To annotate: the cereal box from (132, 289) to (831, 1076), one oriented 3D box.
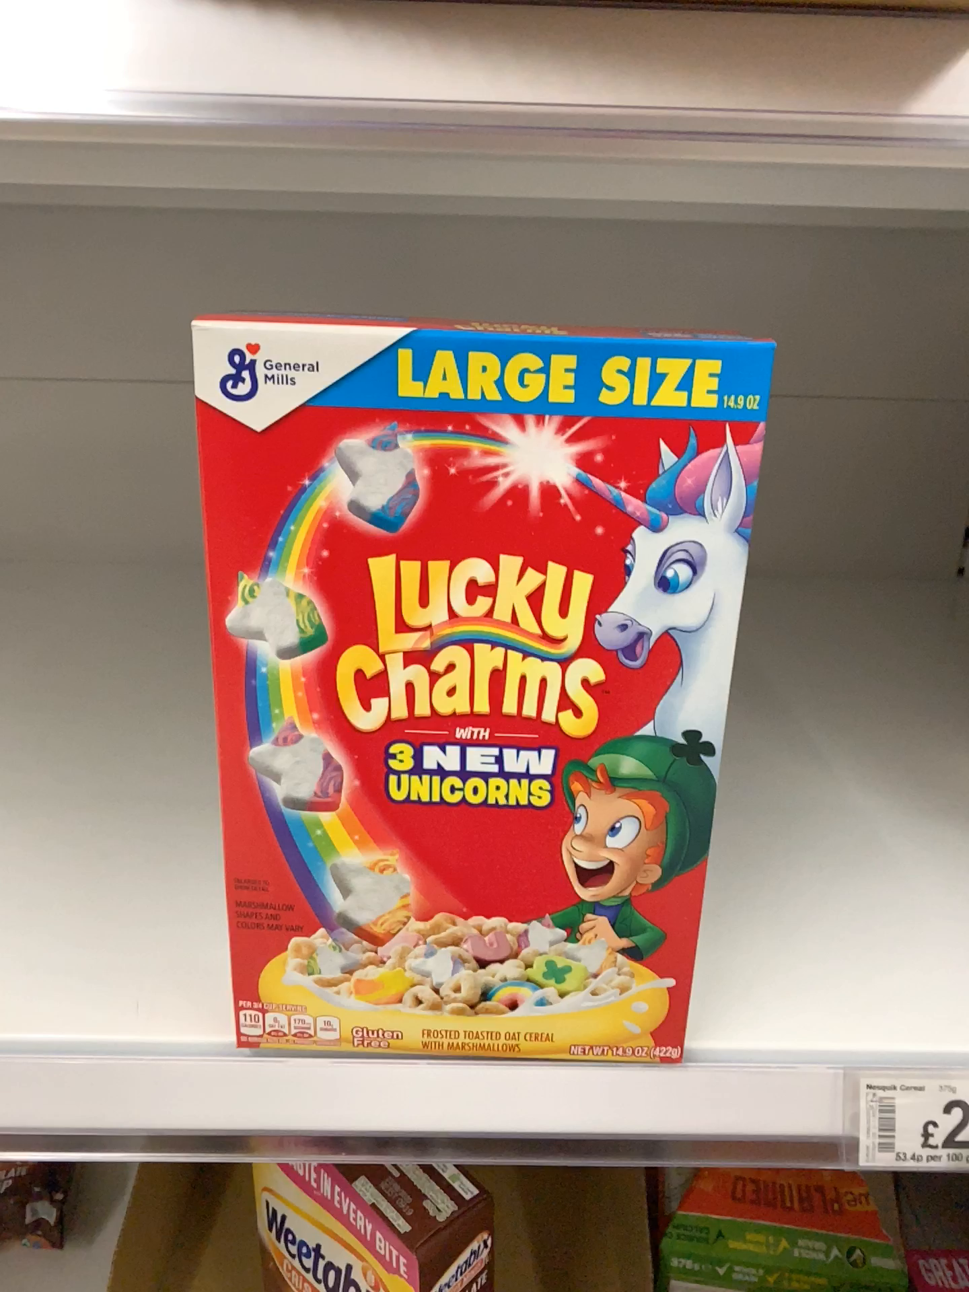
[{"bbox_3d":[-0.004,0.020,0.382,0.210,0.288,0.070,2,20,0],"label":"cereal box"}]
